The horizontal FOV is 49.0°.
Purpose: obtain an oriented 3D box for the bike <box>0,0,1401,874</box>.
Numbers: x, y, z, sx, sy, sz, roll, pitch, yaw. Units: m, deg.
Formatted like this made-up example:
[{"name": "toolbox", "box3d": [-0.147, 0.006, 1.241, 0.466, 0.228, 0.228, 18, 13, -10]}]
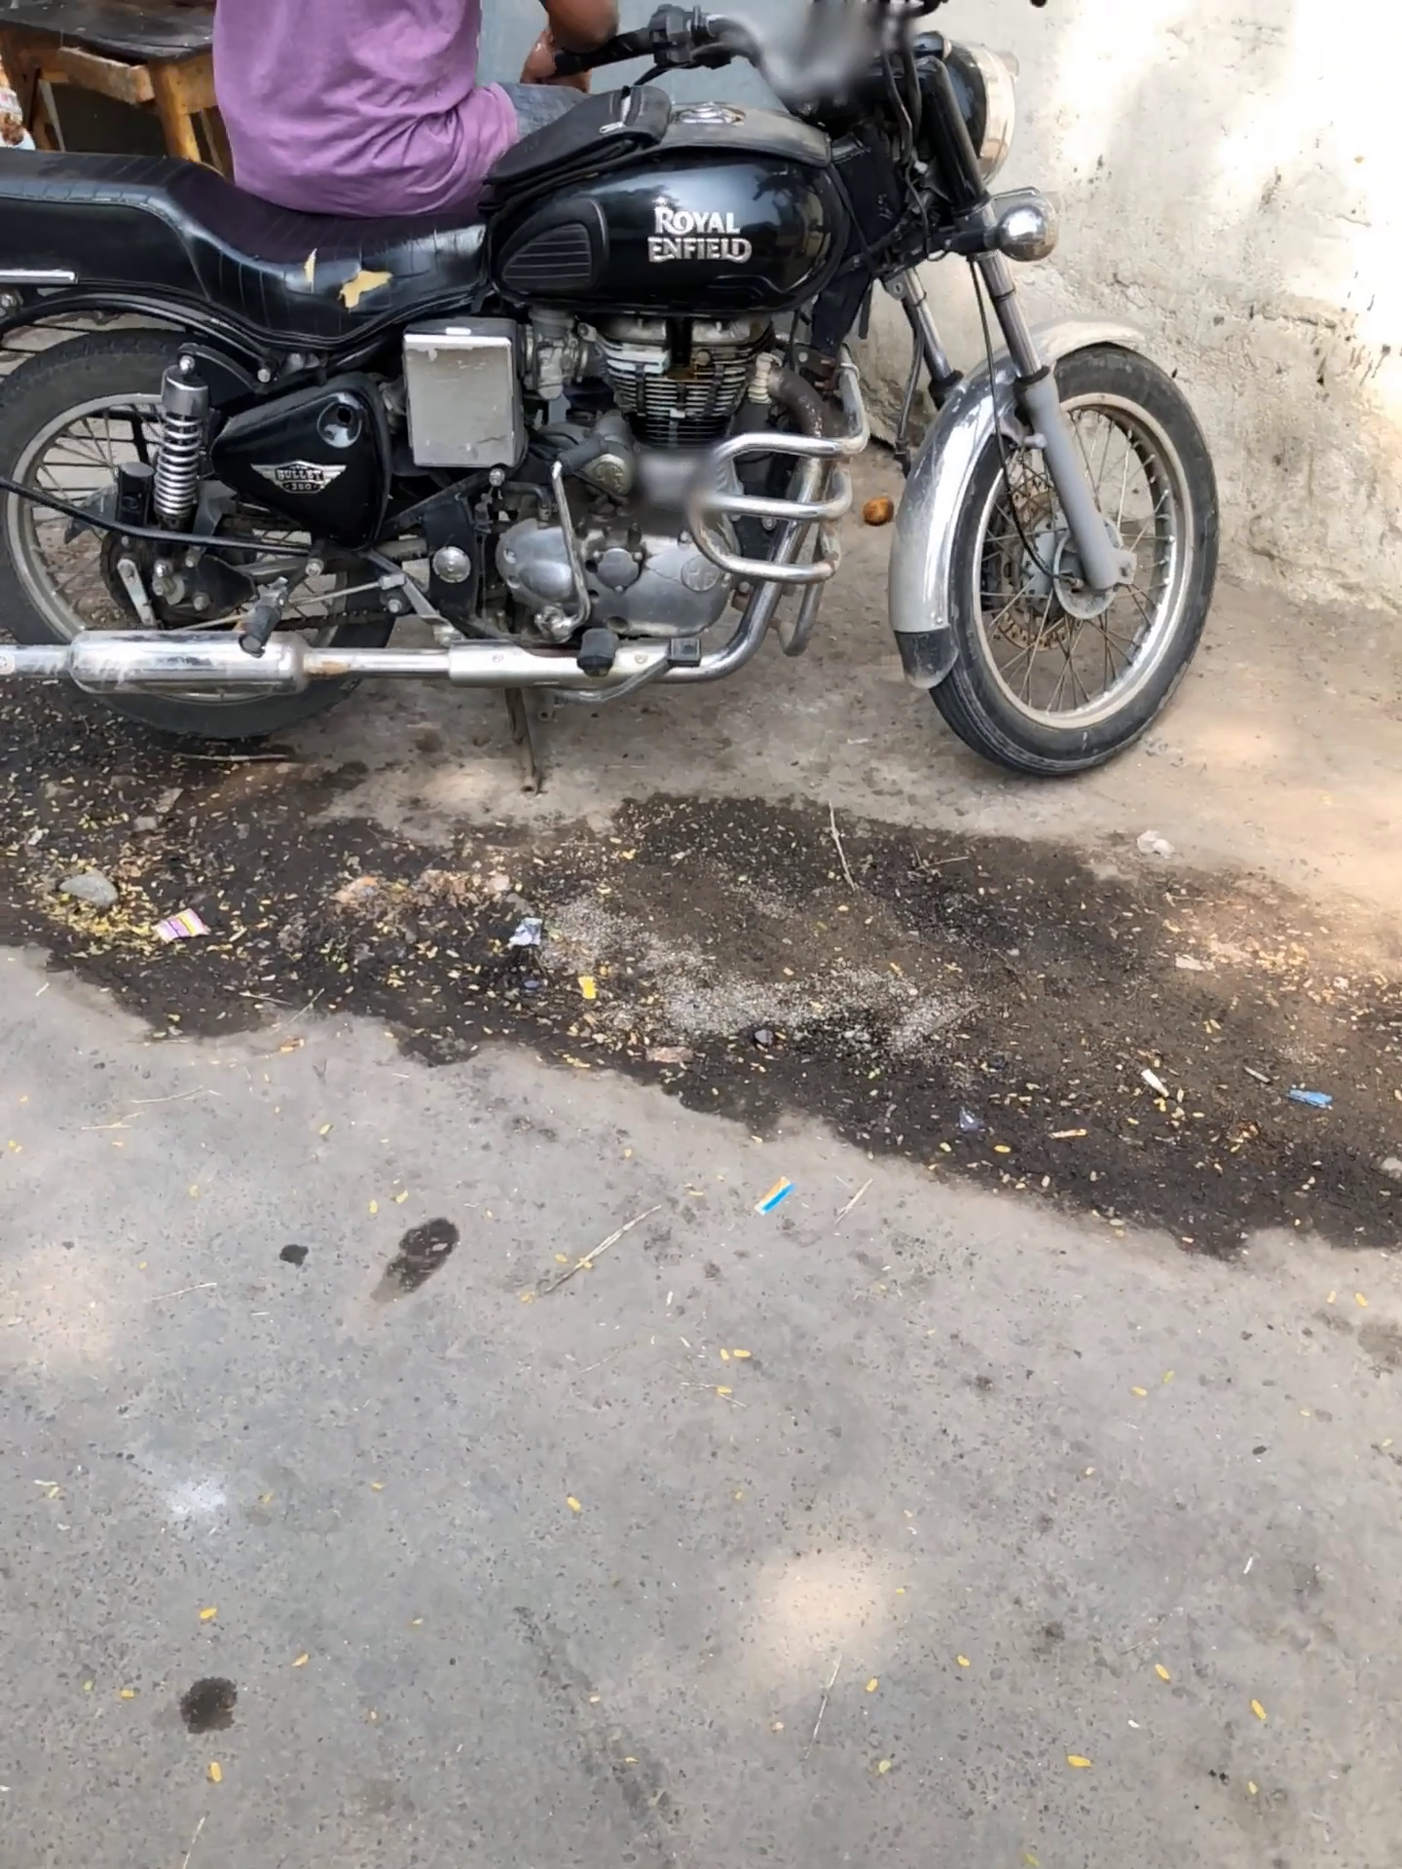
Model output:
[{"name": "bike", "box3d": [-0.149, -0.895, 2.310, 1.919, 1.173, 0.844, -4, 38, -2]}]
